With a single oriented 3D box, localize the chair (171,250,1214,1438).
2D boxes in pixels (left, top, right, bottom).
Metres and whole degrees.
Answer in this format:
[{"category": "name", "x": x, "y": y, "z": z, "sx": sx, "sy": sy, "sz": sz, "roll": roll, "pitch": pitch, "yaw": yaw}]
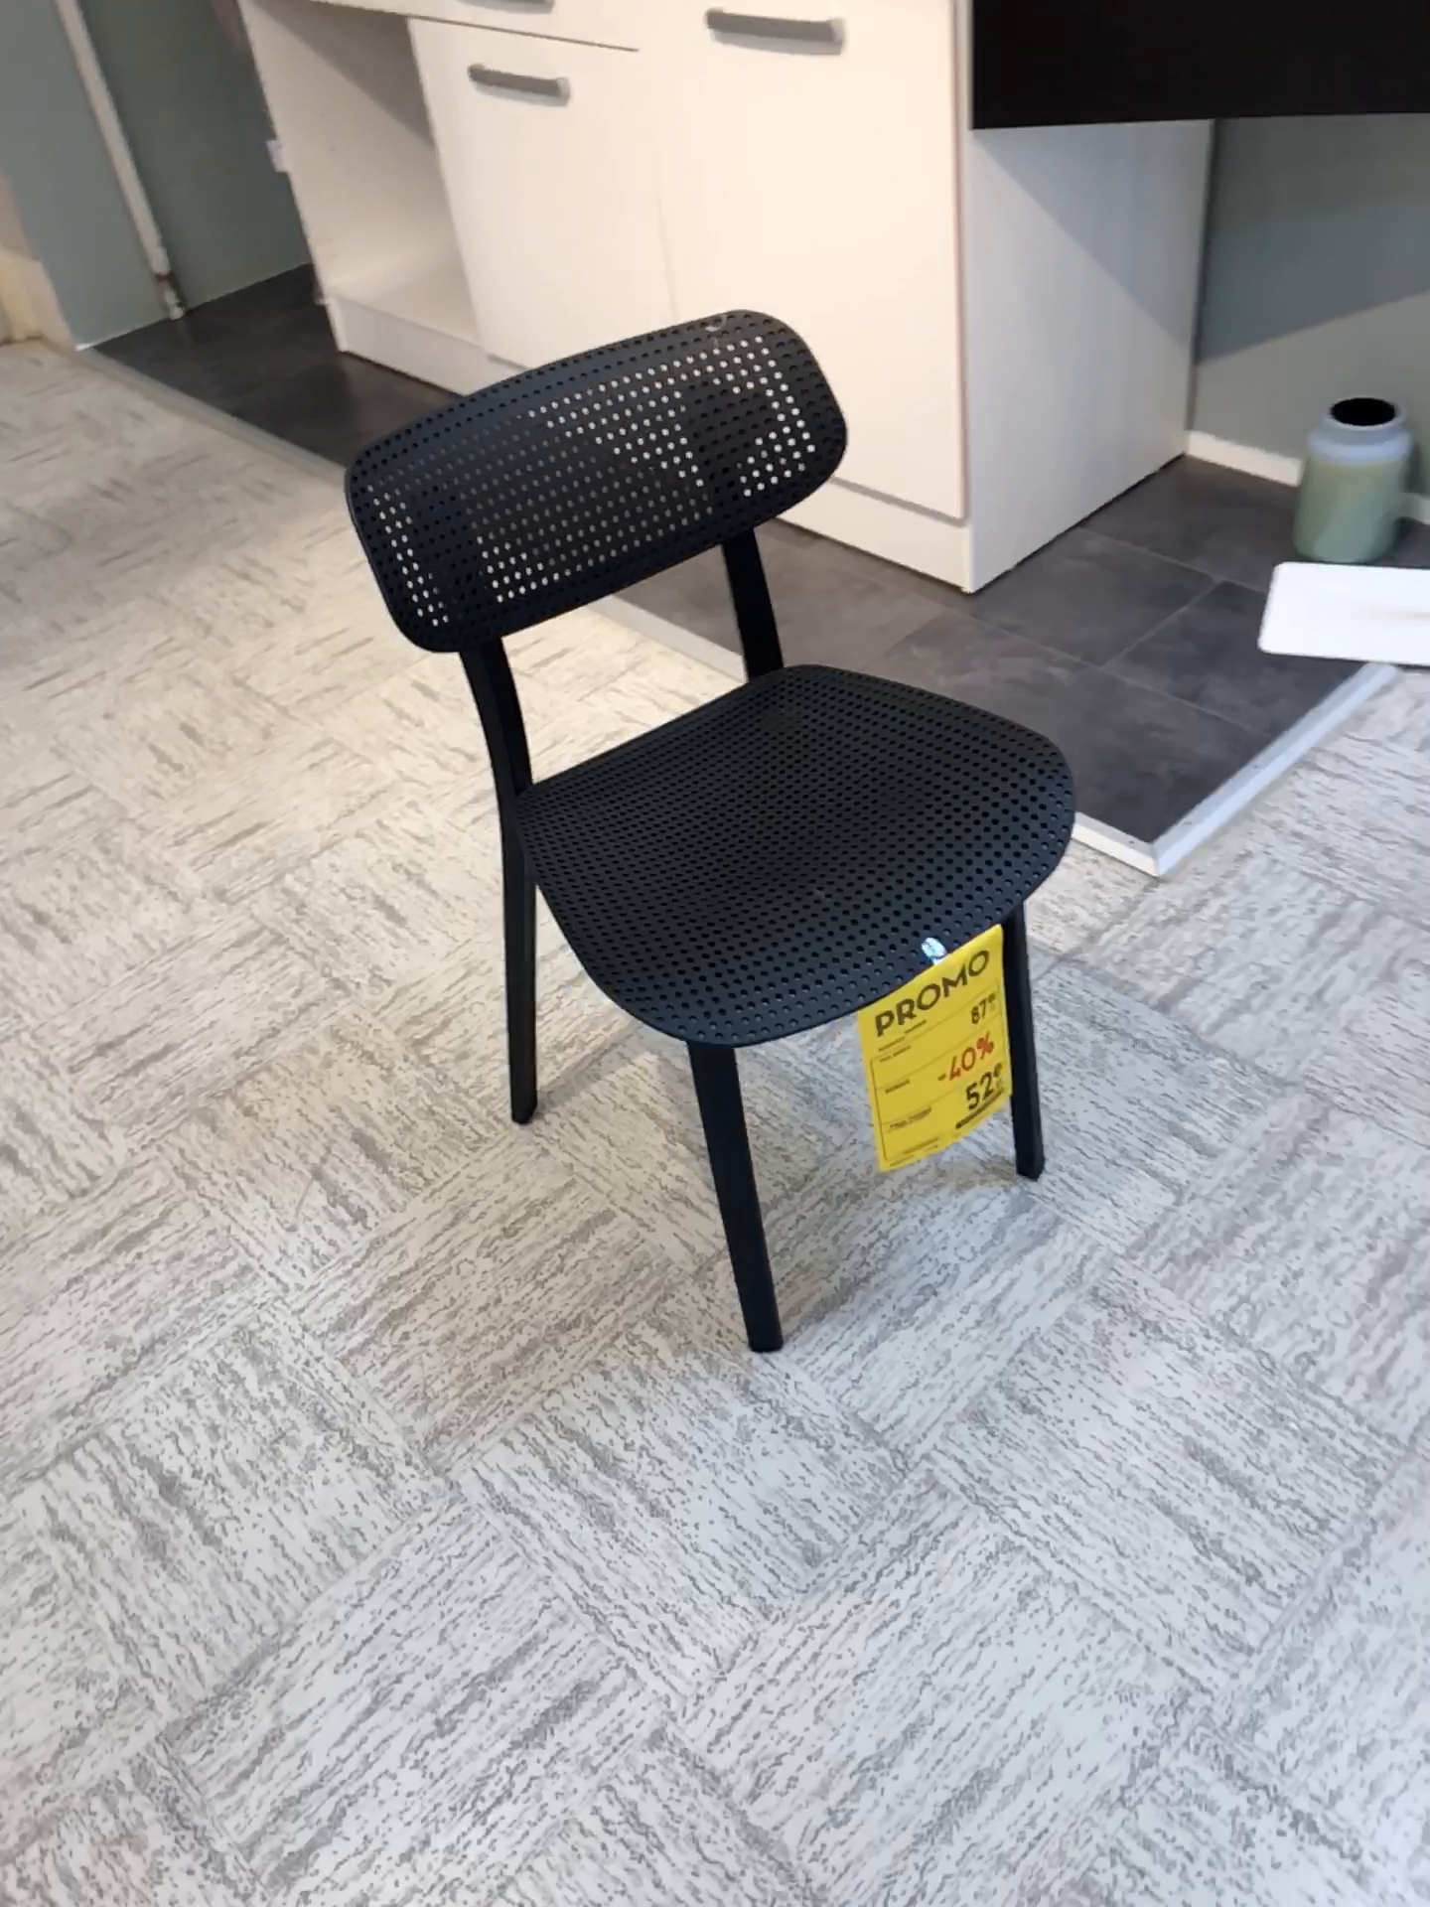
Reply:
[{"category": "chair", "x": 0.000, "y": -0.108, "z": 1.328, "sx": 0.542, "sy": 0.686, "sz": 0.521, "roll": -29, "pitch": 46, "yaw": -21}]
